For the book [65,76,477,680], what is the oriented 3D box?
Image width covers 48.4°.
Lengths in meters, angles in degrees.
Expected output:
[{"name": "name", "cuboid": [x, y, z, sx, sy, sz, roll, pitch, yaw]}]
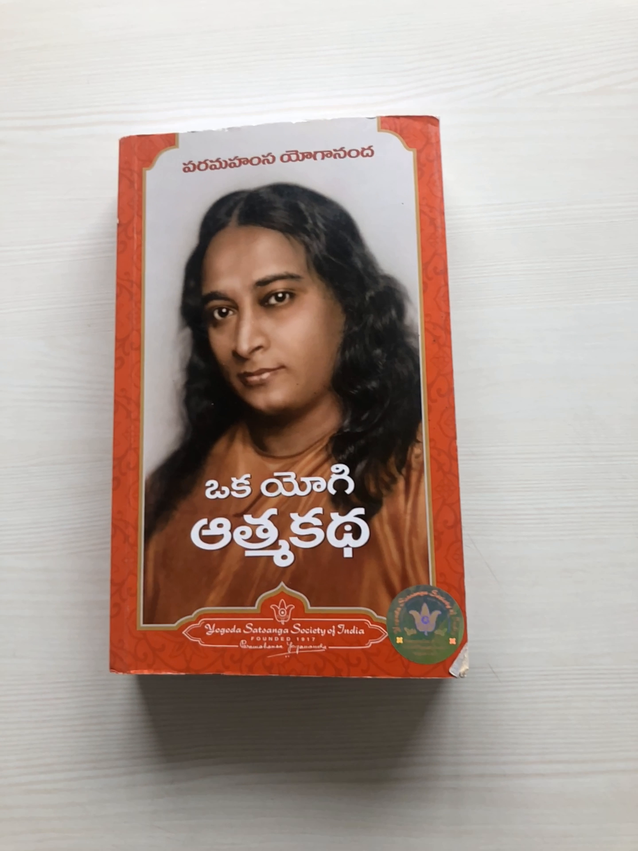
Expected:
[{"name": "book", "cuboid": [-0.020, -0.020, 0.294, 0.150, 0.040, 0.233, -2, 81, 4]}]
